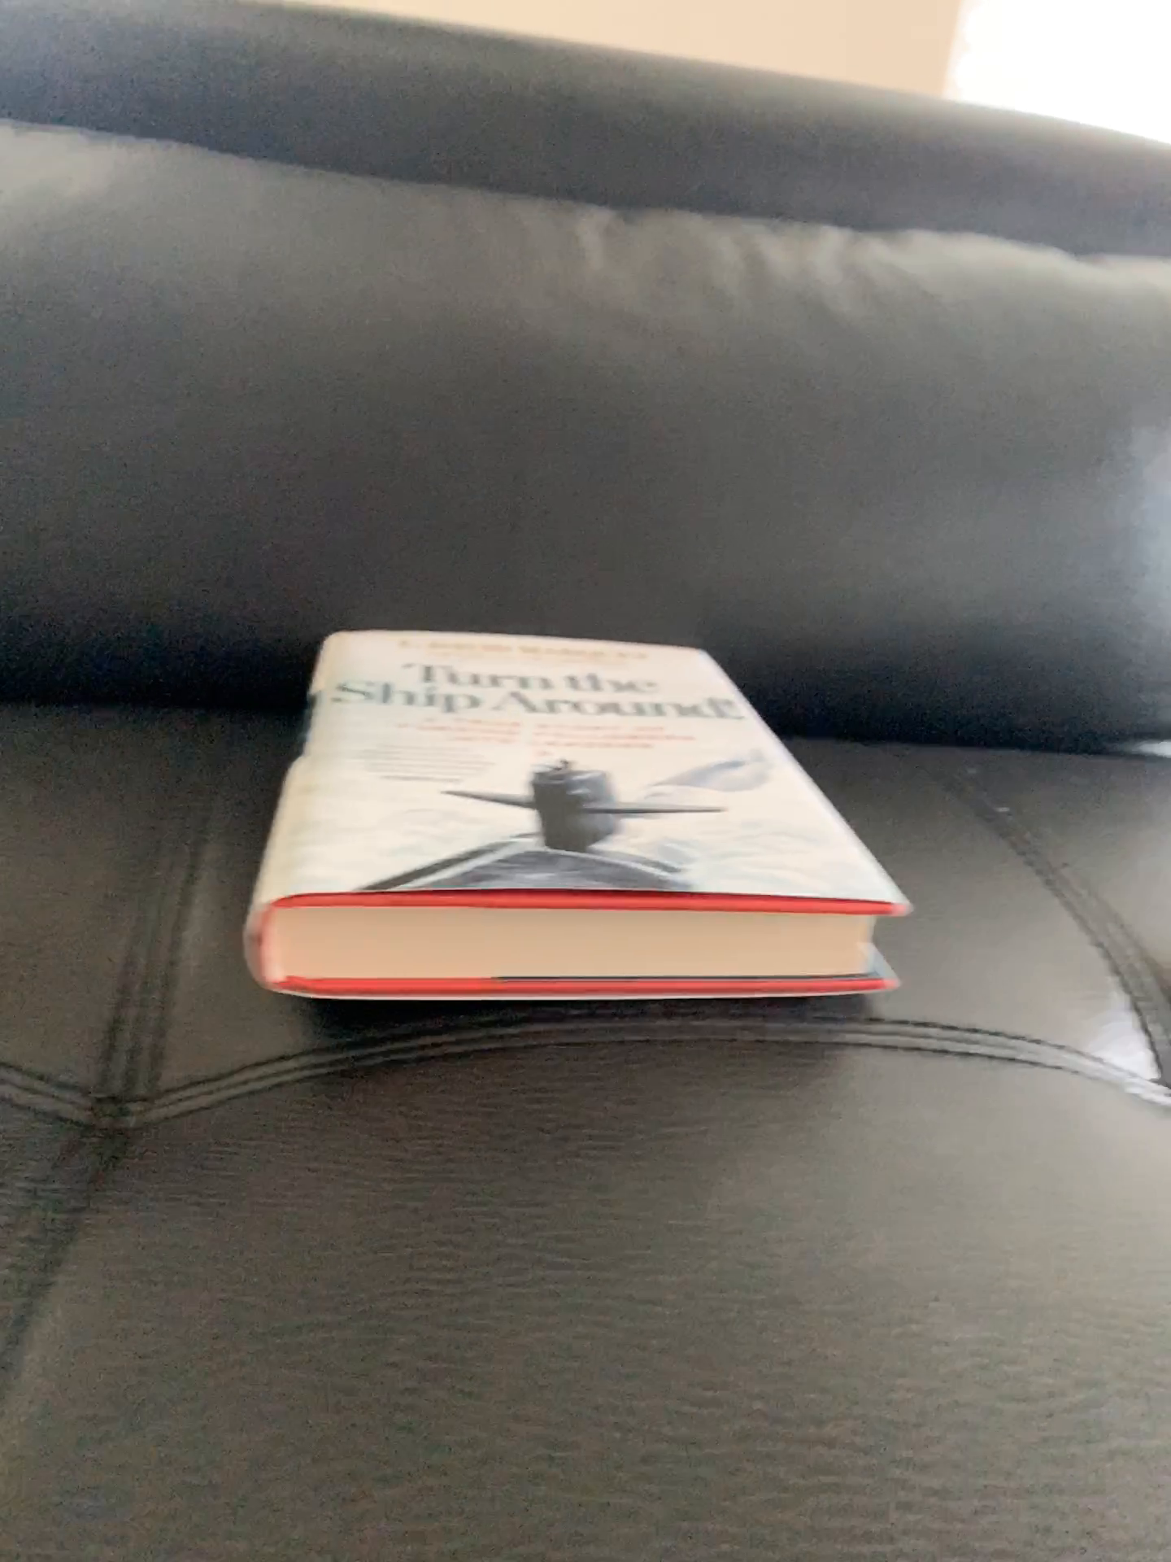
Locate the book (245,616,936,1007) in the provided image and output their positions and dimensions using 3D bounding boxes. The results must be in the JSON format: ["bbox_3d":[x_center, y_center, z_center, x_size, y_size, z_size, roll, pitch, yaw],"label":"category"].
[{"bbox_3d":[-0.011,-0.005,0.375,0.152,0.029,0.227,2,21,-9],"label":"book"}]
